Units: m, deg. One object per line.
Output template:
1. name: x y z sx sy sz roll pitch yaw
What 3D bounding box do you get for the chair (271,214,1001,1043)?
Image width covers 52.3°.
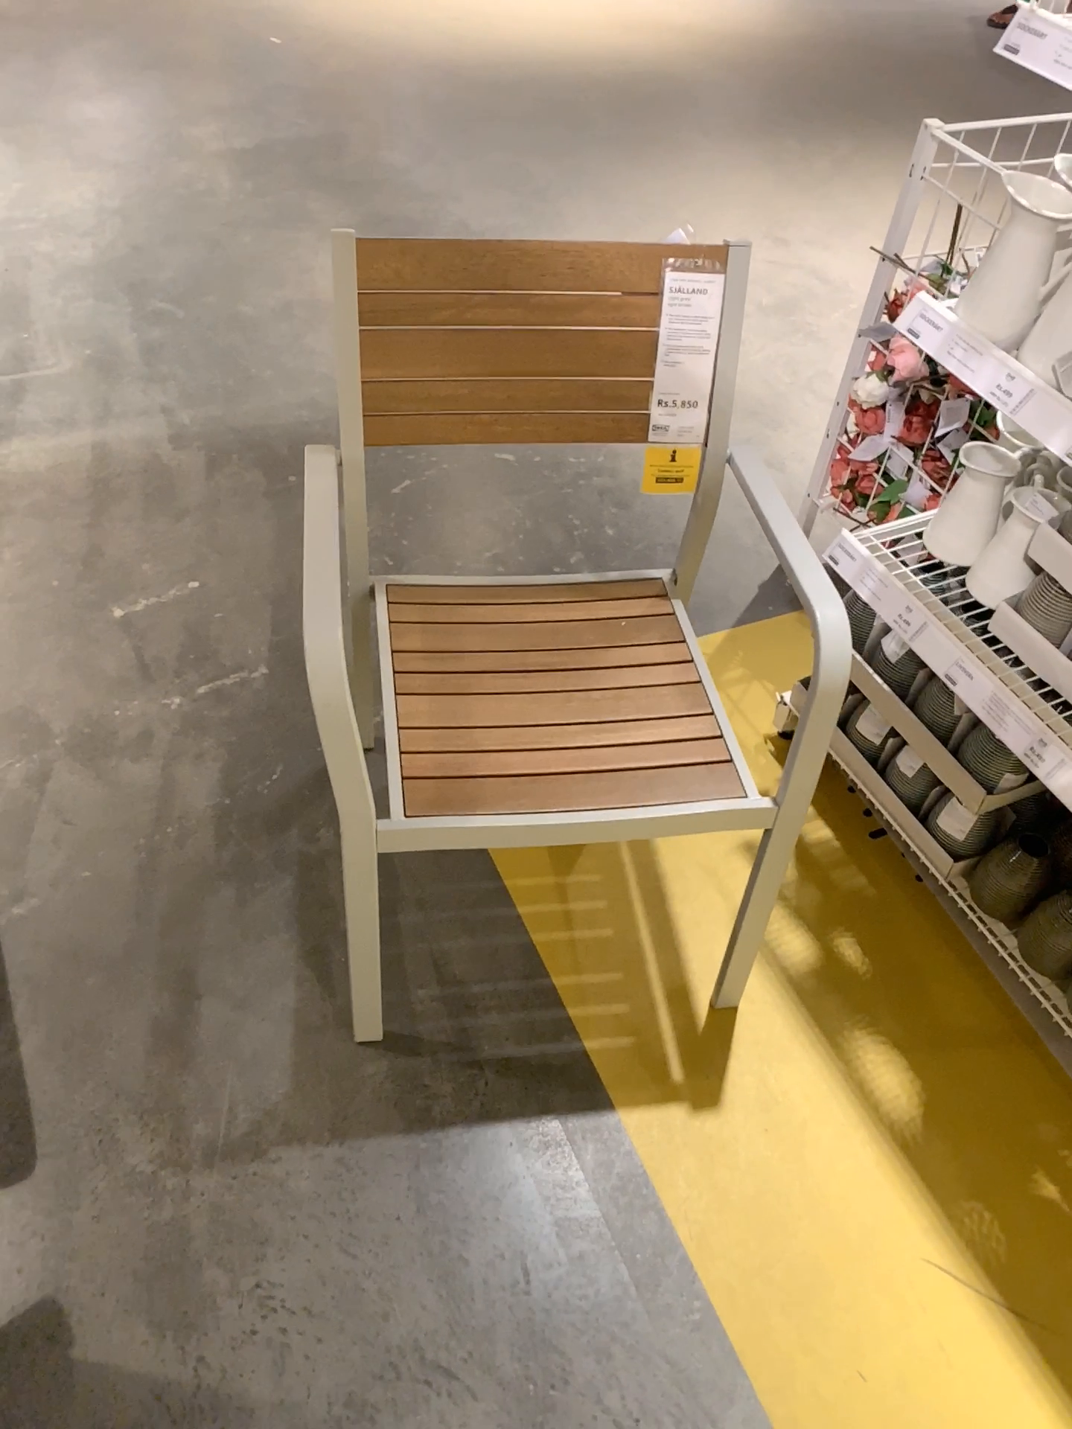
1. chair: 0.022 -0.085 1.283 0.560 0.728 0.602 -2 47 -8
